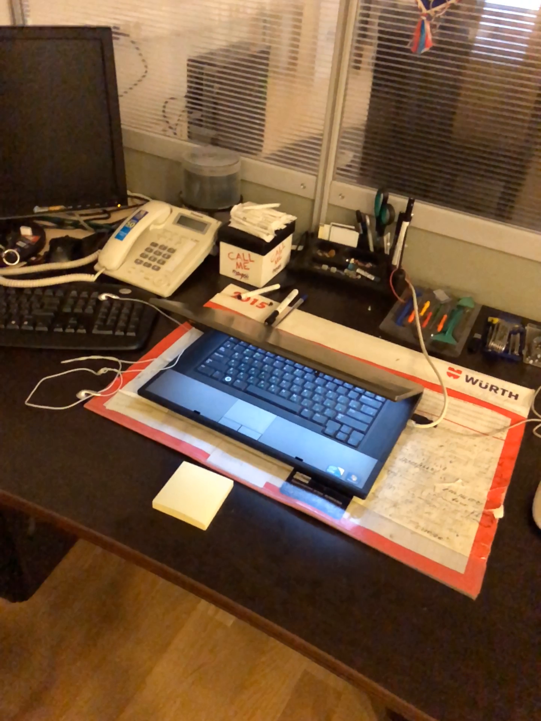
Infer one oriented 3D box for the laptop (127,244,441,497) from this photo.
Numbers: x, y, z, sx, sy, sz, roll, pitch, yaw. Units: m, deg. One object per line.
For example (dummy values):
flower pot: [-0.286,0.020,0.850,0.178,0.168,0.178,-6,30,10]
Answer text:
laptop: [0.021,-0.007,0.851,0.358,0.141,0.240,22,40,19]
